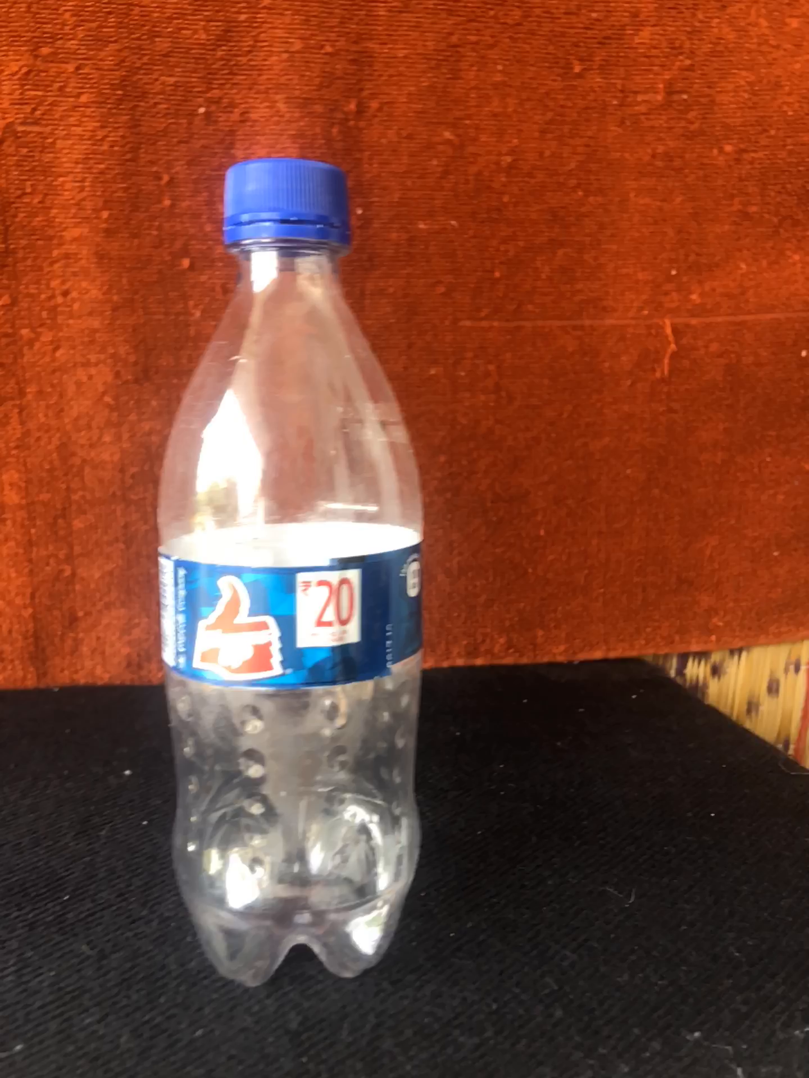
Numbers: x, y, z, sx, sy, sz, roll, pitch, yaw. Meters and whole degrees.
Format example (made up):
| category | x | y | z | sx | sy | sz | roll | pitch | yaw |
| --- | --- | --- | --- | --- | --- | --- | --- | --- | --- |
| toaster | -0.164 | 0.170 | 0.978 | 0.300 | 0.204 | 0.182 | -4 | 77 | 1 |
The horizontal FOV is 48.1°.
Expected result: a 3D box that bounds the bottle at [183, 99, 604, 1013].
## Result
| category | x | y | z | sx | sy | sz | roll | pitch | yaw |
| --- | --- | --- | --- | --- | --- | --- | --- | --- | --- |
| bottle | -0.008 | 0.004 | 0.165 | 0.060 | 0.140 | 0.050 | 0 | 12 | -12 |
